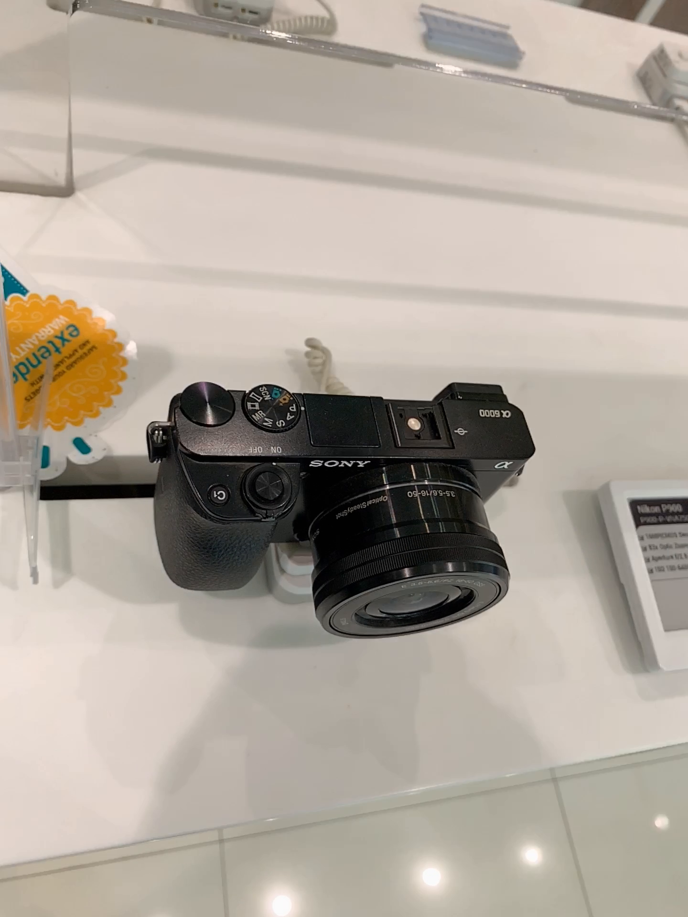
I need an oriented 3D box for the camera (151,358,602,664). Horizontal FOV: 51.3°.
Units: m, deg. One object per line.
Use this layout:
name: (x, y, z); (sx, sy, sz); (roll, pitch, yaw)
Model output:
camera: (0.002, 0.016, 0.203); (0.104, 0.063, 0.058); (0, 62, -20)
